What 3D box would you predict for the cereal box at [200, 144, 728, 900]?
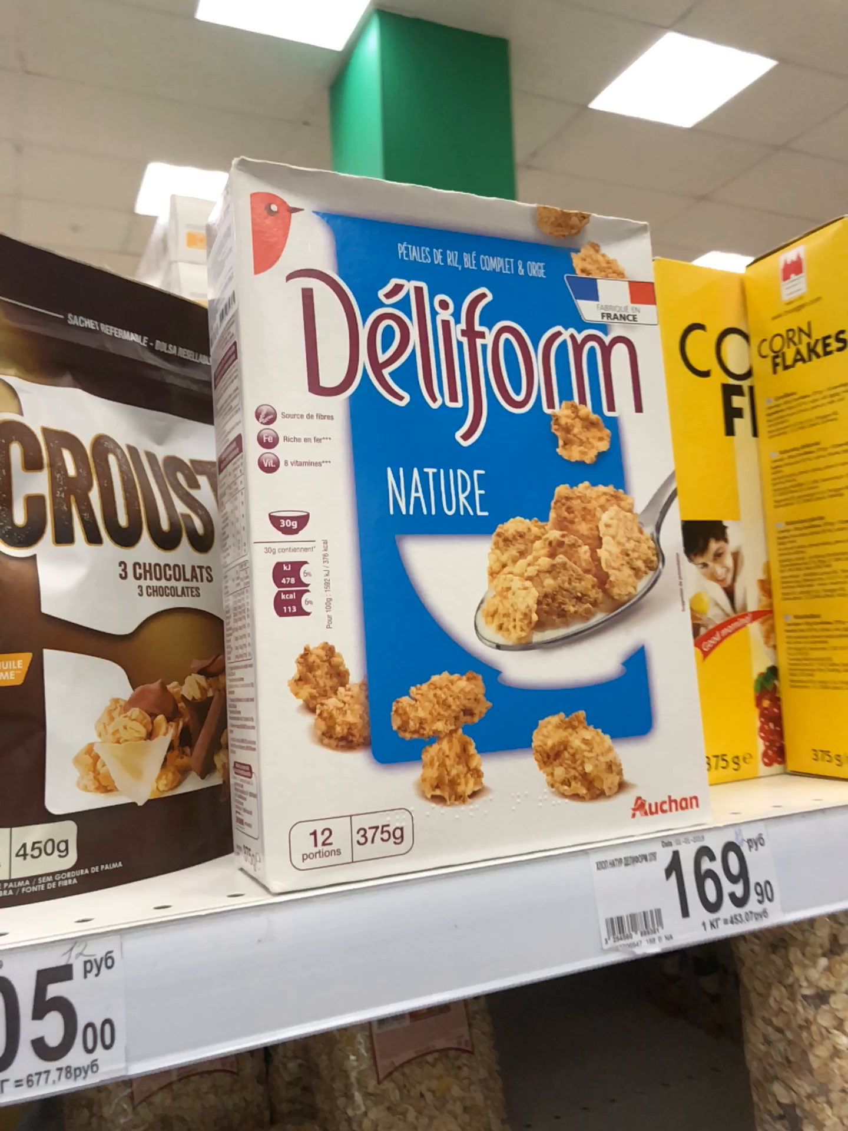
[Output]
[{"bbox_3d":[0.016,-0.020,0.399,0.200,0.271,0.060,-1,-8,-25],"label":"cereal box"}]
